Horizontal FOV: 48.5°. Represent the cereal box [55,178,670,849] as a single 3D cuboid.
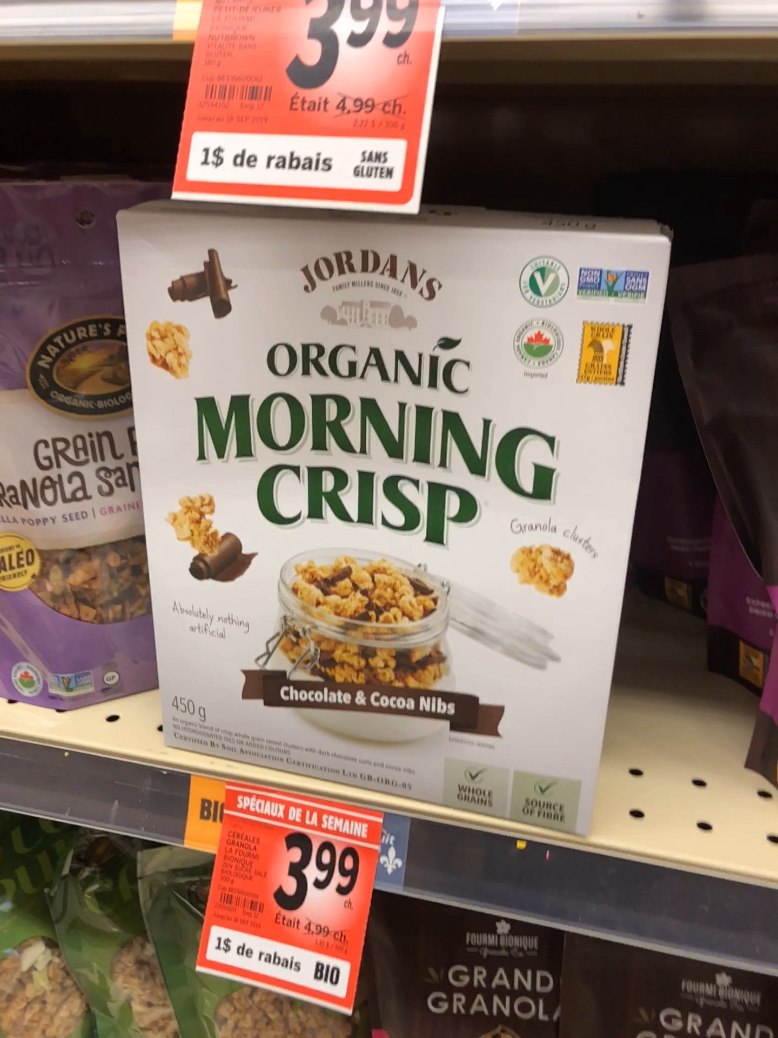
[{"bbox_3d":[-0.011,-0.004,0.303,0.180,0.209,0.050,8,23,15],"label":"cereal box"}]
